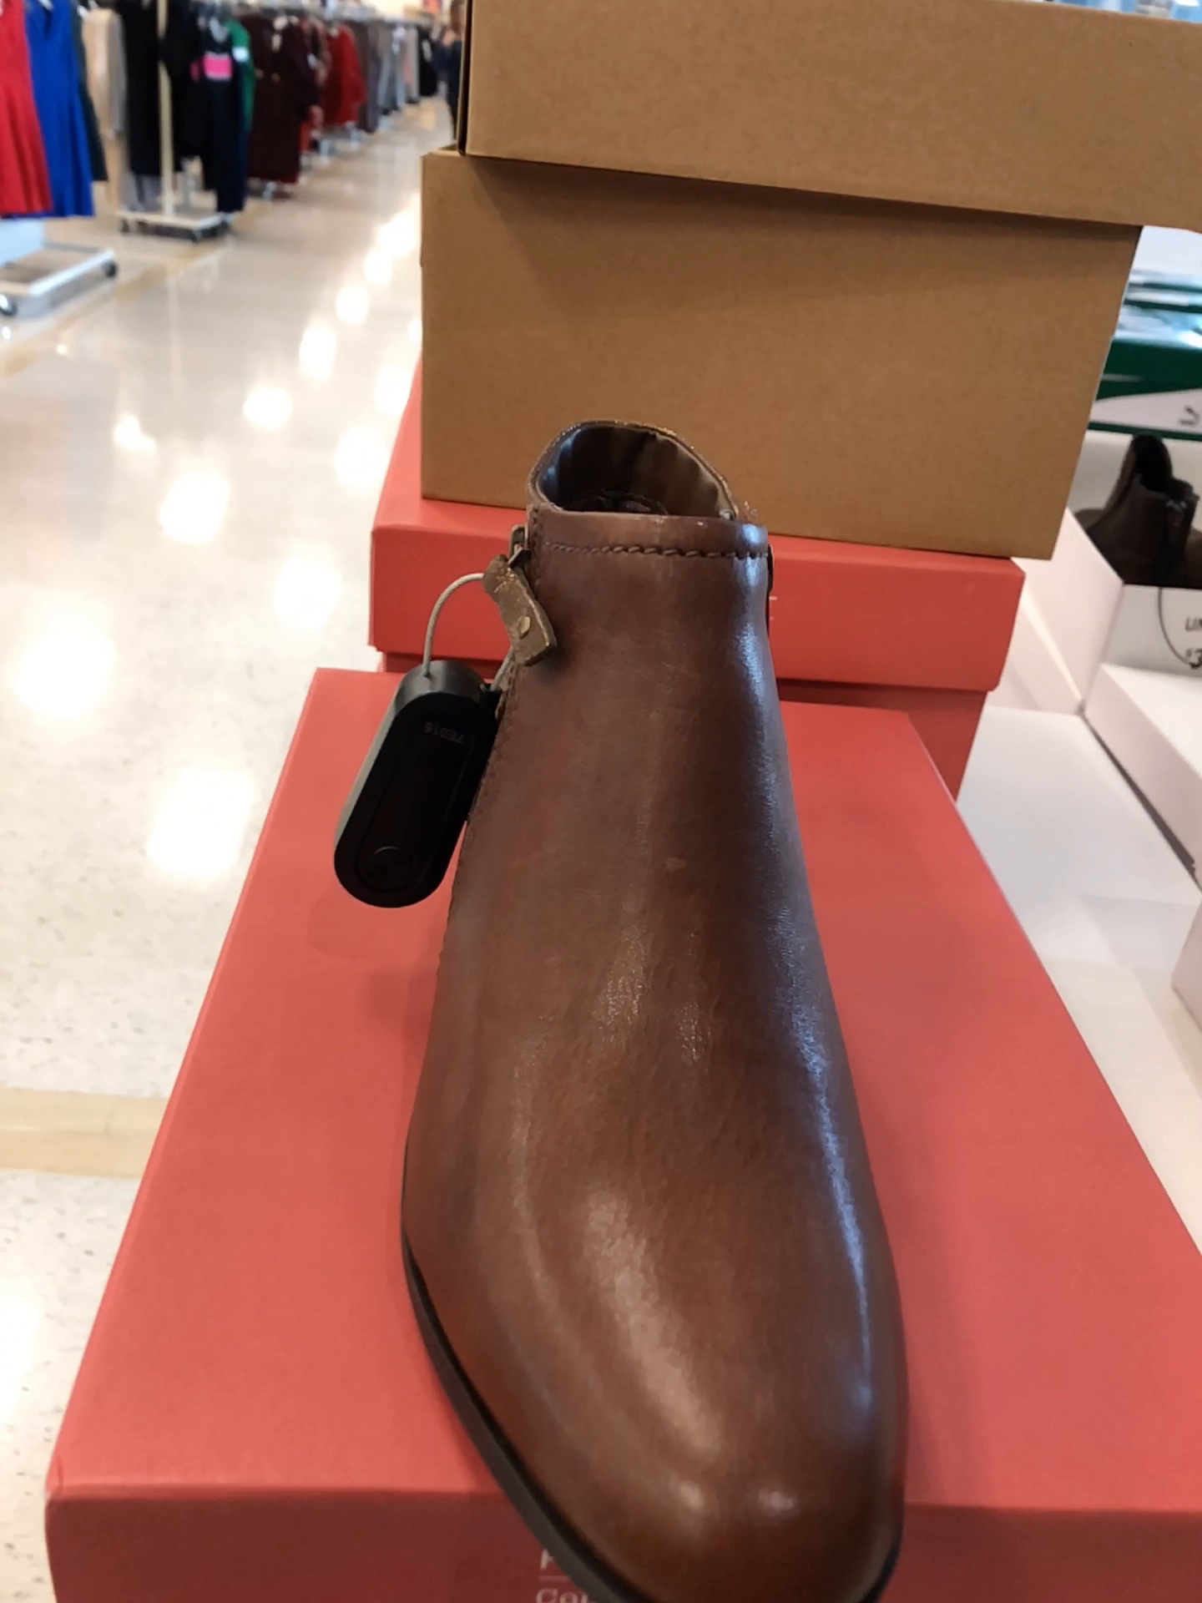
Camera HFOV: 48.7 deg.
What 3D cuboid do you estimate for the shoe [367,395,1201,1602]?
[{"bbox_3d":[0.010,0.014,0.279,0.101,0.119,0.282,3,30,-9],"label":"shoe"}]
